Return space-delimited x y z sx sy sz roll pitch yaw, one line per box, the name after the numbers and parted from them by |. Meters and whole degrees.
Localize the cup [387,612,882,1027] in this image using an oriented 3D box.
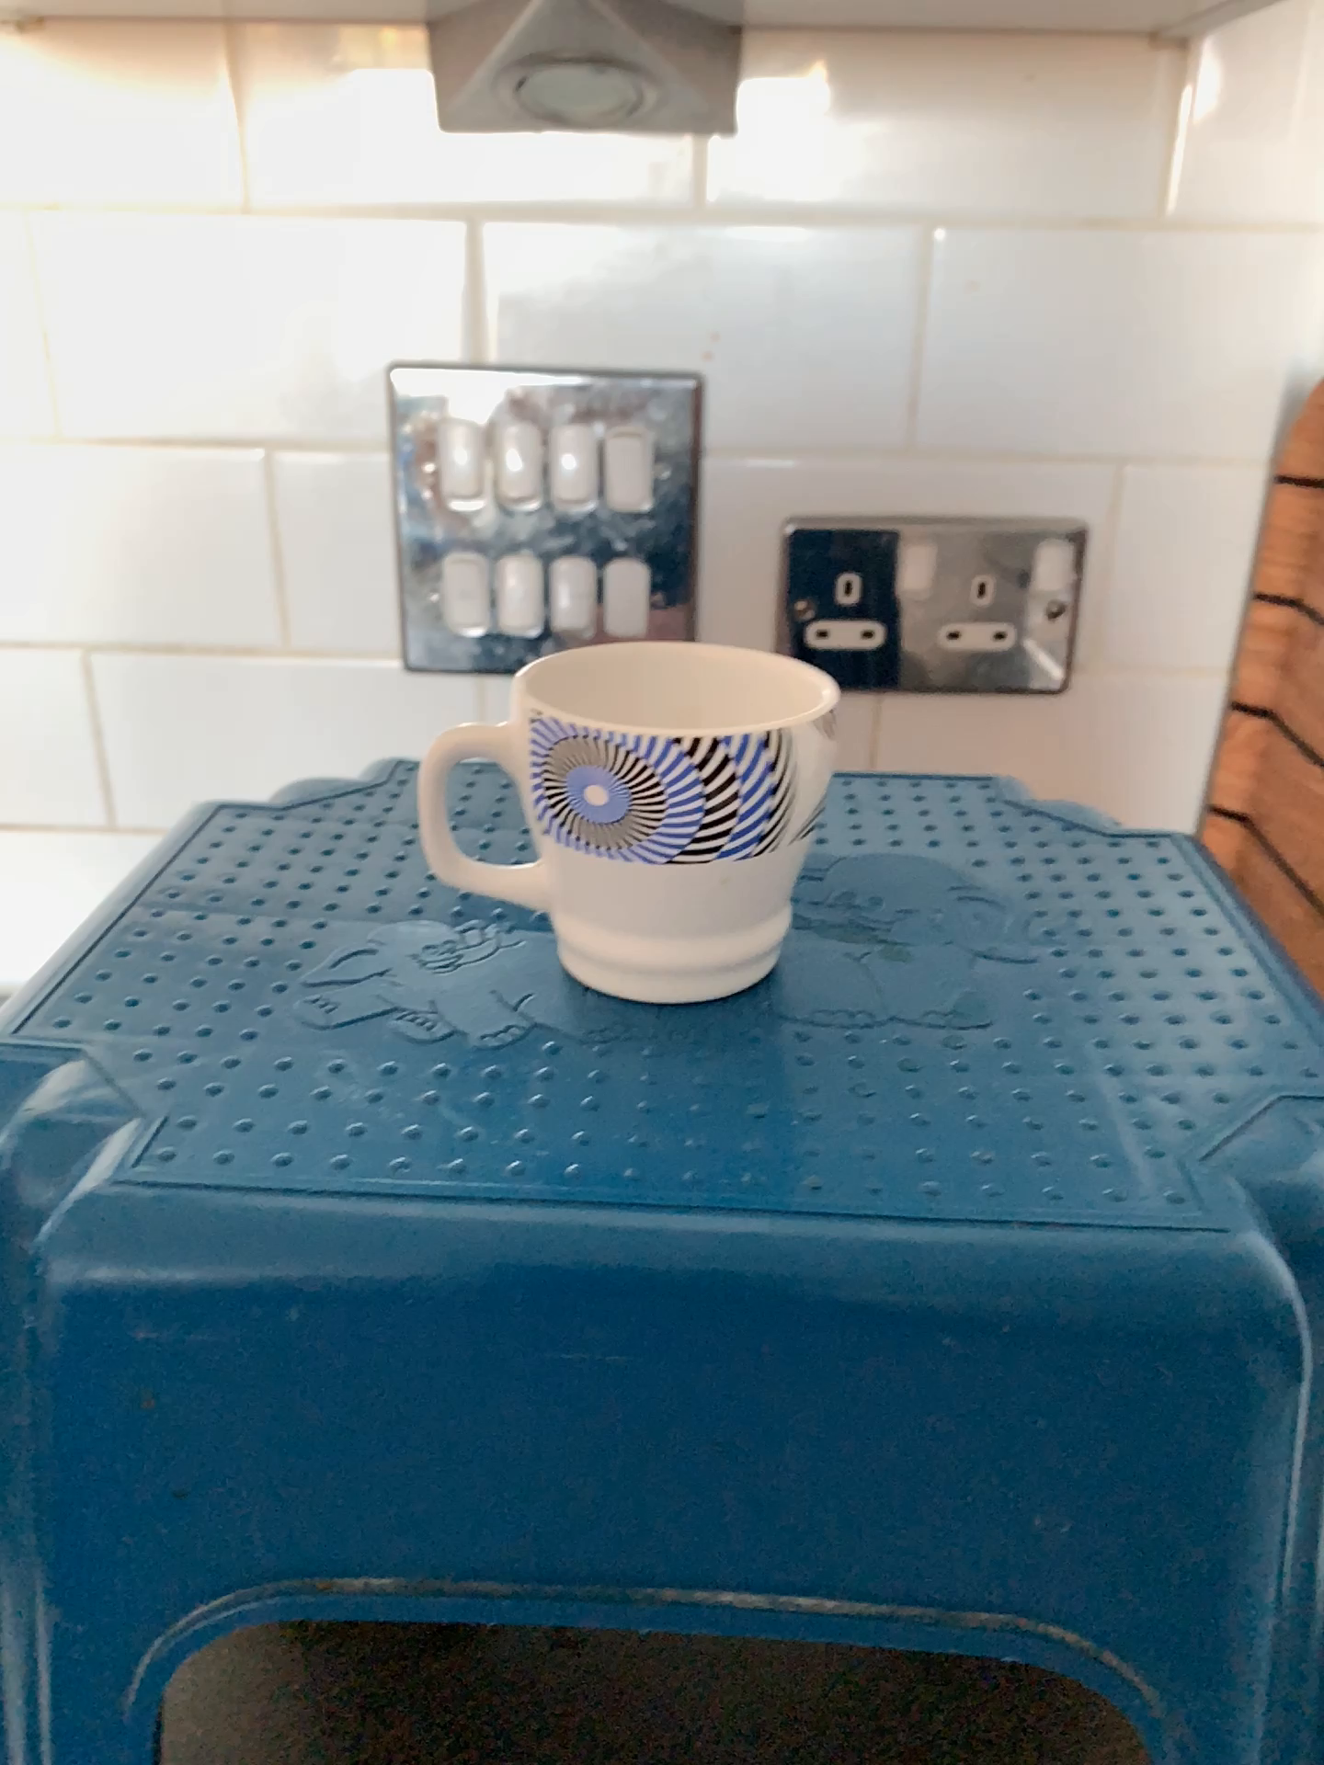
-0.002 -0.017 0.283 0.085 0.055 0.079 1 25 0 | cup
